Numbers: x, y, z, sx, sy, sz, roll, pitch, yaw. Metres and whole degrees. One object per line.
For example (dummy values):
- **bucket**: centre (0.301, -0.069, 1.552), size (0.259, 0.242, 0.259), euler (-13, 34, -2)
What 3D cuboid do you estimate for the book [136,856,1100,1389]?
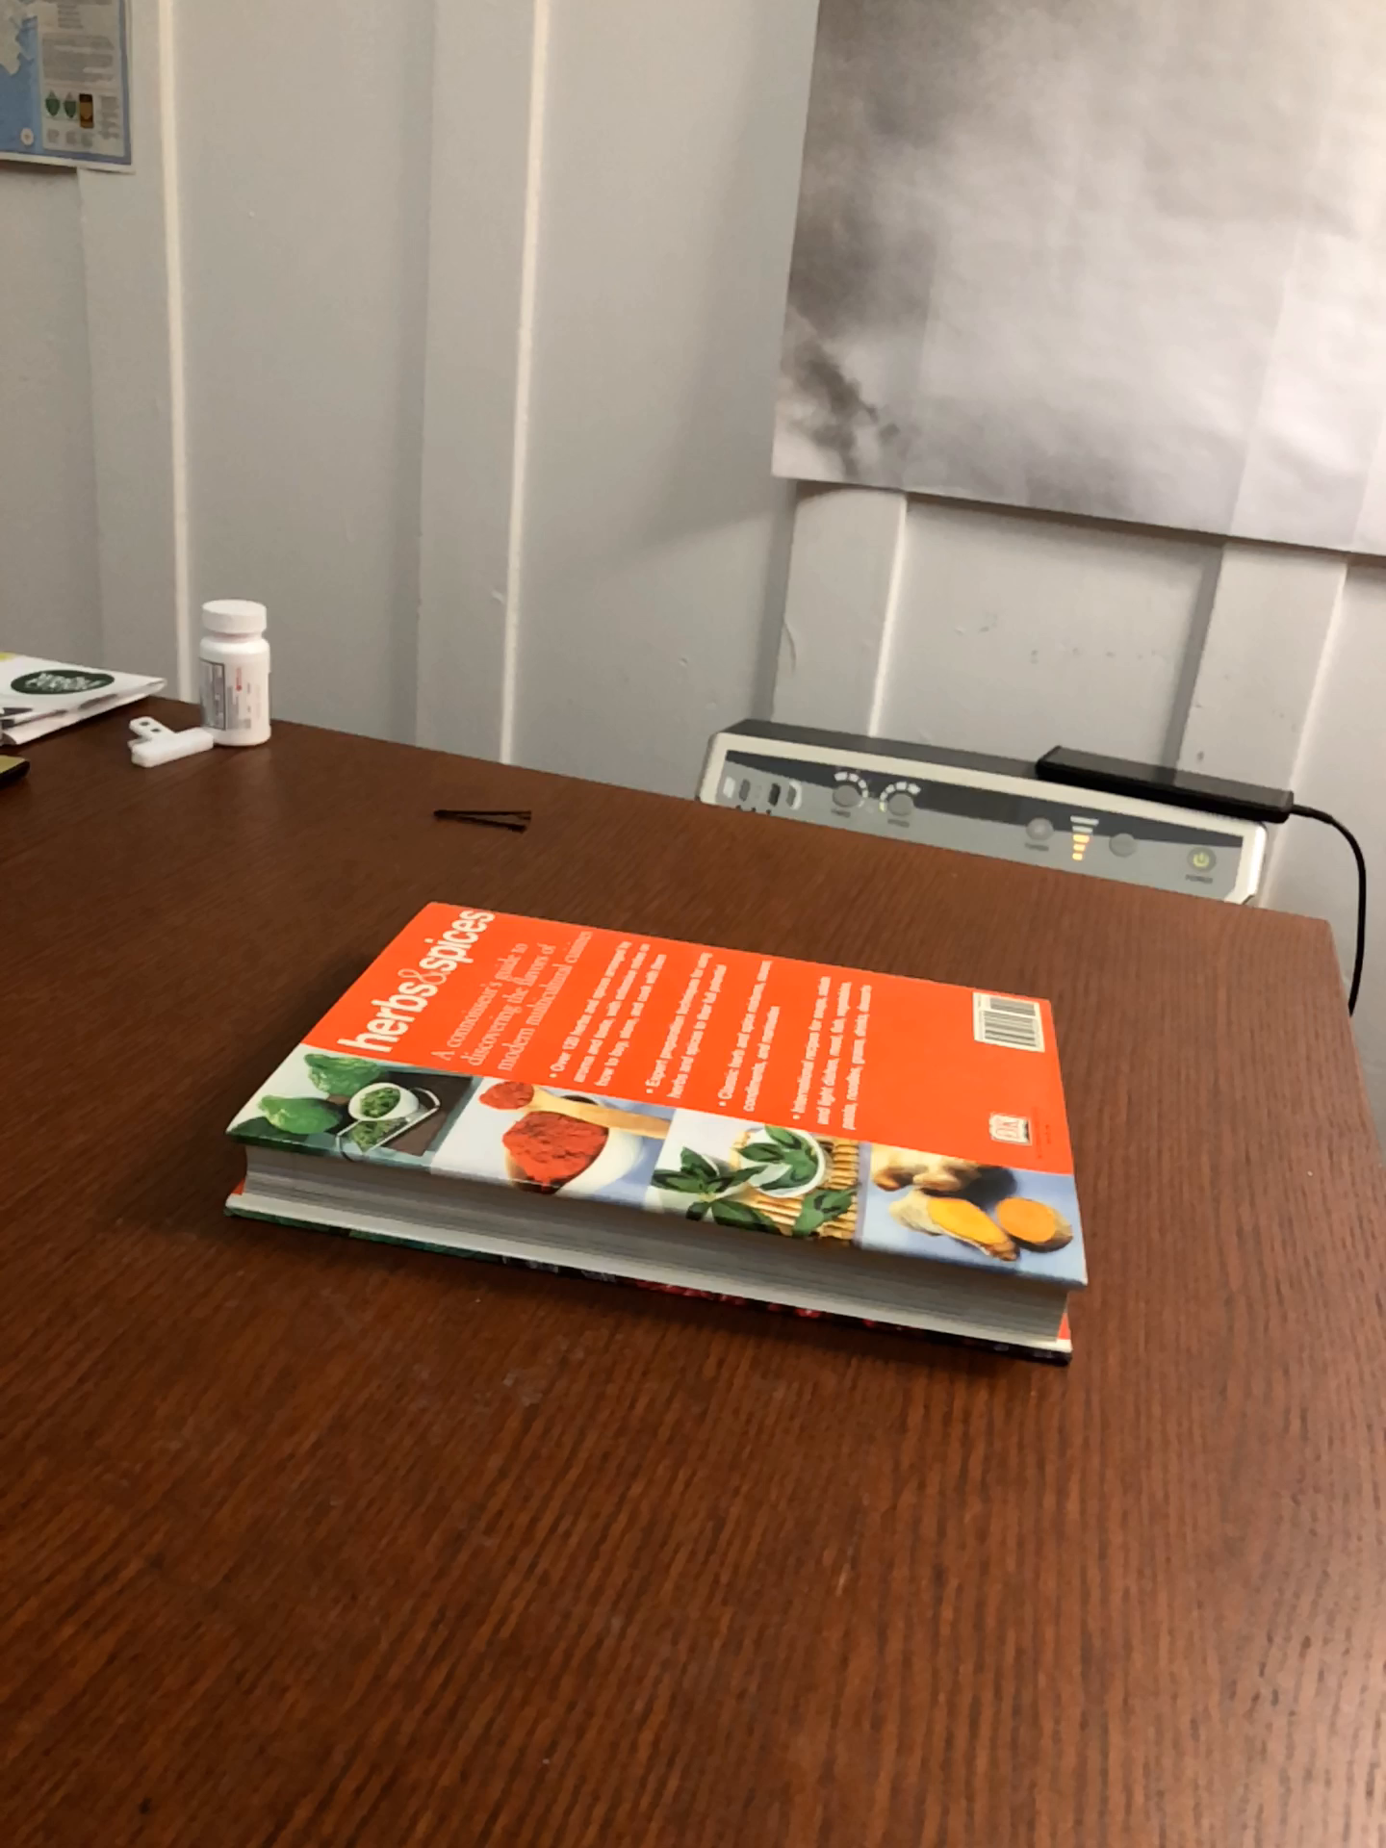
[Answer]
- **book**: centre (-0.011, 0.050, 0.522), size (0.270, 0.040, 0.211), euler (9, 23, 6)
